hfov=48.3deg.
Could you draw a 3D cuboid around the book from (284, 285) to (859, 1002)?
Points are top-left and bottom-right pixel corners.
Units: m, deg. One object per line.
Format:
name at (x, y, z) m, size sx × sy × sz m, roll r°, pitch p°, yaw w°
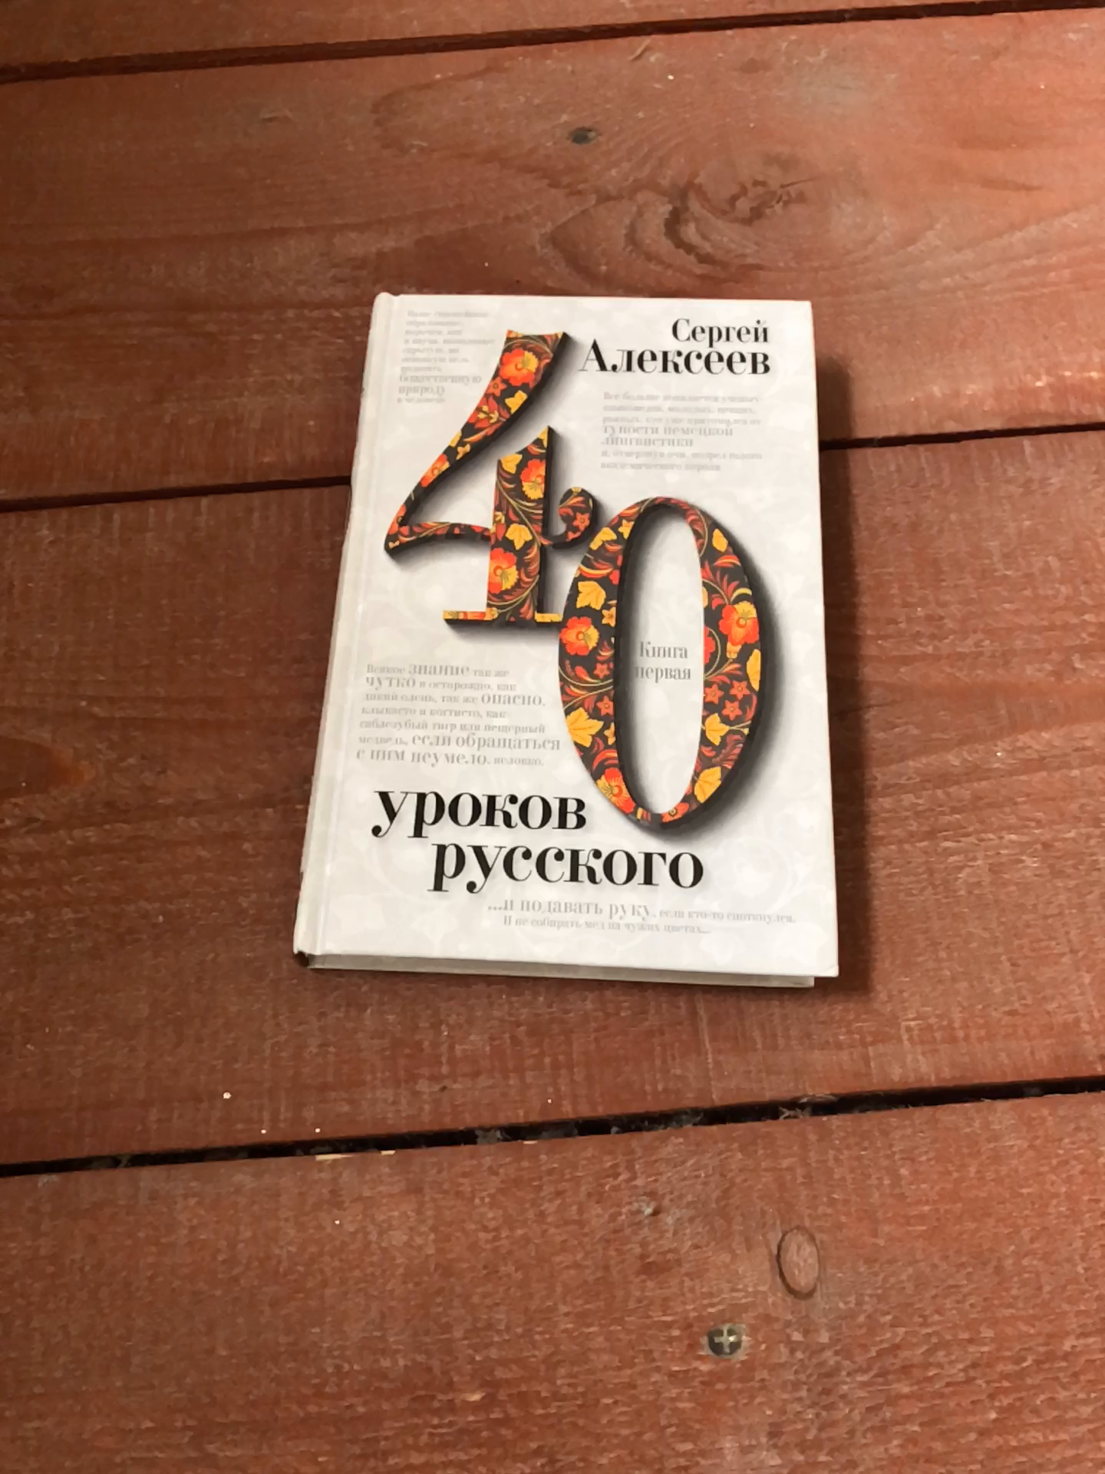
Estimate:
book at (0.009, -0.033, 0.339) m, size 0.135 × 0.030 × 0.200 m, roll 2°, pitch 68°, yaw 2°
